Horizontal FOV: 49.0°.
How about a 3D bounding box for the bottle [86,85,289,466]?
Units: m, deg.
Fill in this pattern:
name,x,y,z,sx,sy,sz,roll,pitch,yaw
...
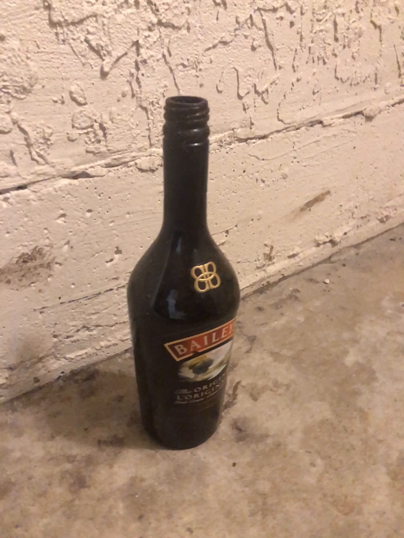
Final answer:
name,x,y,z,sx,sy,sz,roll,pitch,yaw
bottle,-0.009,0.013,0.327,0.090,0.258,0.080,-20,37,-28
